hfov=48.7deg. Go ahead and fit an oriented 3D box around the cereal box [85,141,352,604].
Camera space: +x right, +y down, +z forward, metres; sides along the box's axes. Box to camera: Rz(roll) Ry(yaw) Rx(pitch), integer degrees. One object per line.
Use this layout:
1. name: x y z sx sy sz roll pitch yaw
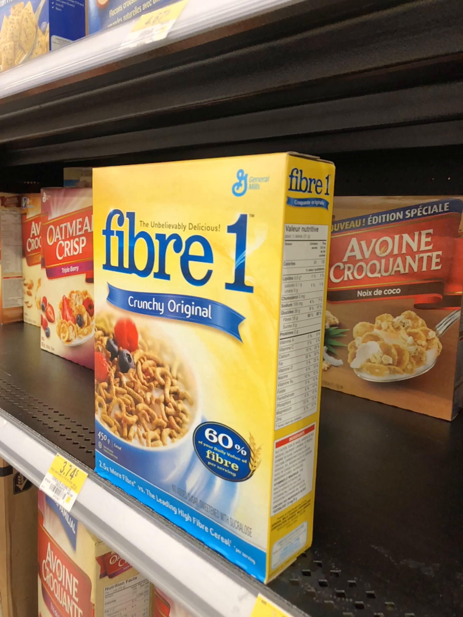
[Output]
1. cereal box: -0.026 0.026 0.367 0.060 0.259 0.200 -7 13 -44
